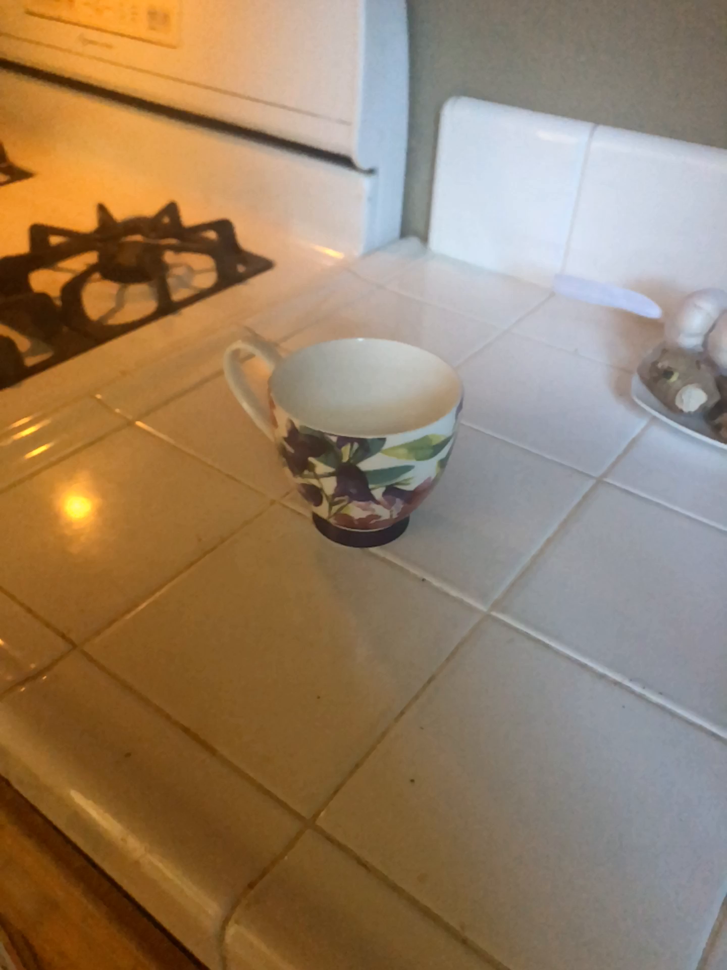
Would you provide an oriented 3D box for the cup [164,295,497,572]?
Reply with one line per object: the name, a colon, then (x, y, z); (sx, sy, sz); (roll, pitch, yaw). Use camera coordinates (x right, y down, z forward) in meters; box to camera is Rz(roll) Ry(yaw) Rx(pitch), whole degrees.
cup: (-0.015, -0.036, 0.465); (0.150, 0.079, 0.111); (16, 40, 16)
